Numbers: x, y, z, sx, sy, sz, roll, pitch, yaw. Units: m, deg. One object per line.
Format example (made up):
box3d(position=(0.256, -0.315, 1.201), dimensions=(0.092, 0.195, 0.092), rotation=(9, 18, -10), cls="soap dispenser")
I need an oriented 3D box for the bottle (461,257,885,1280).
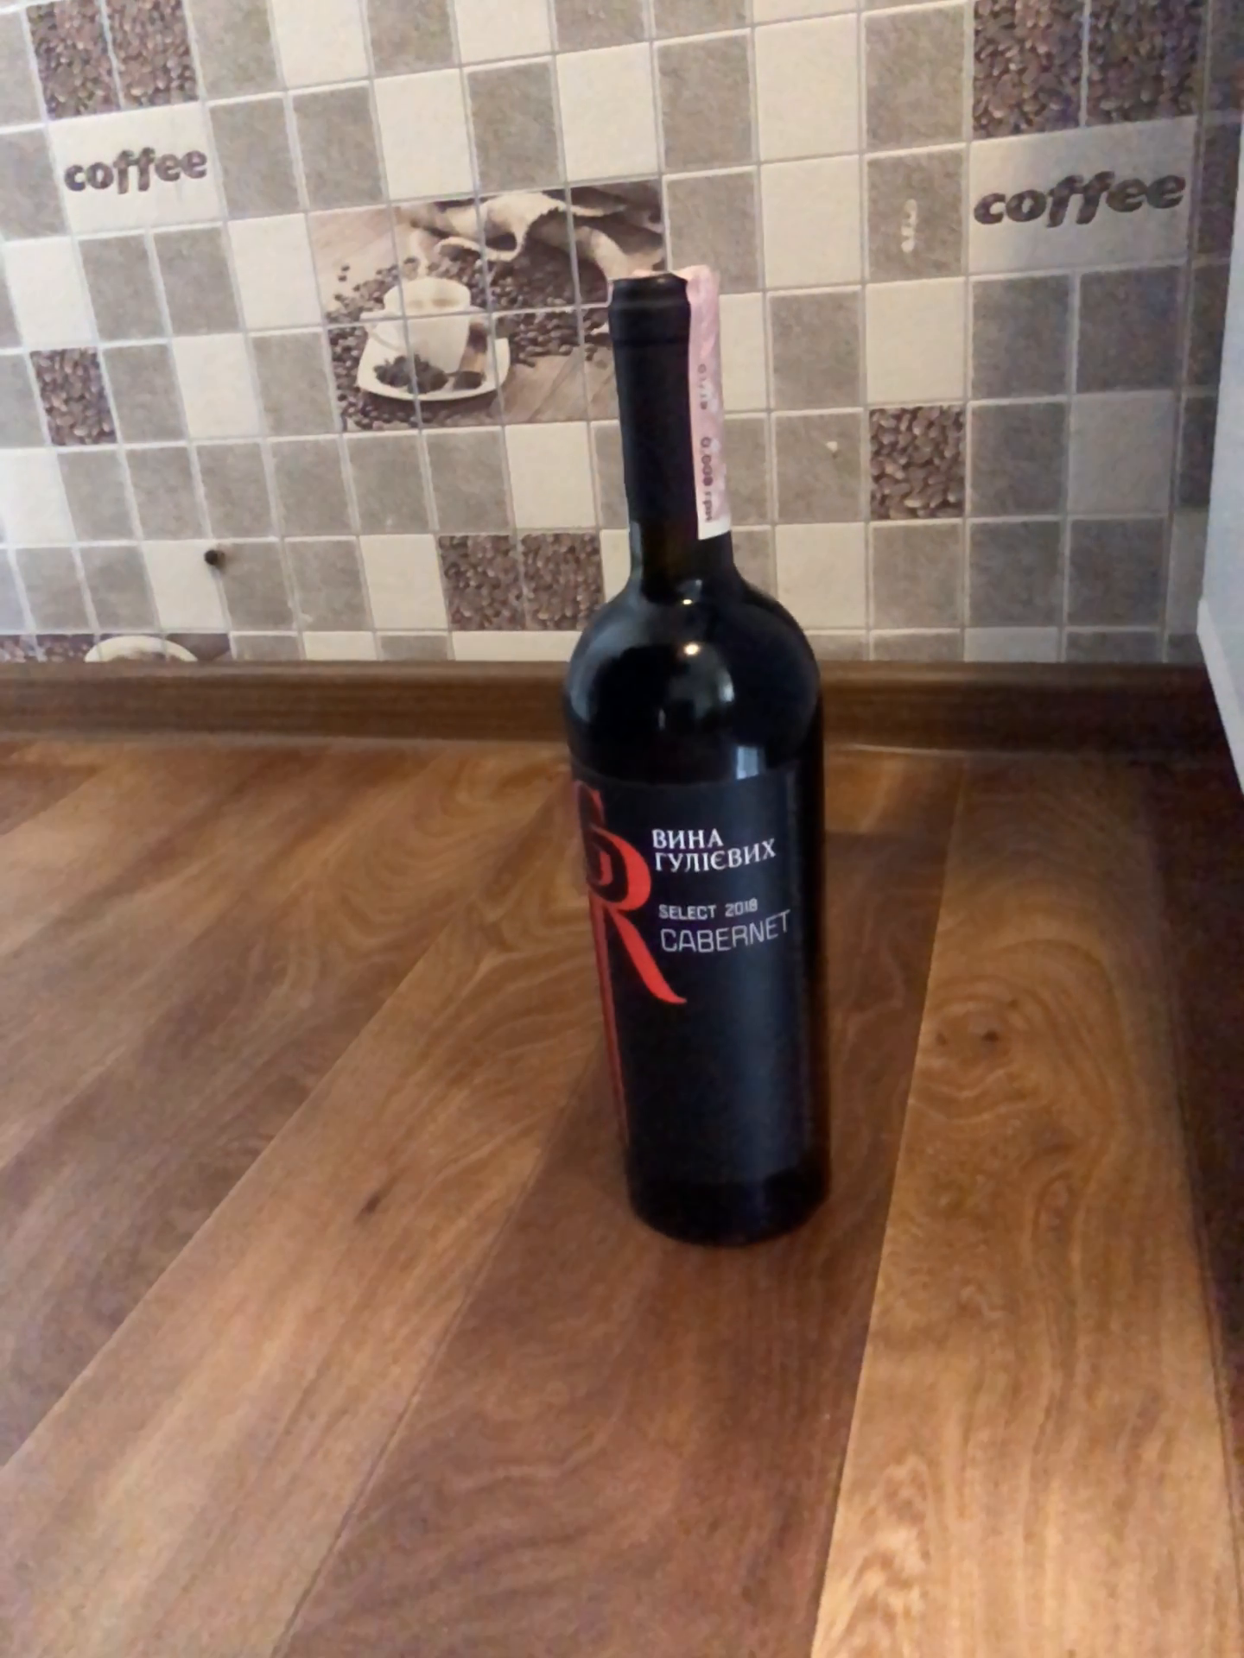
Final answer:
box3d(position=(0.028, -0.014, 0.430), dimensions=(0.090, 0.297, 0.090), rotation=(-4, 23, 2), cls="bottle")
